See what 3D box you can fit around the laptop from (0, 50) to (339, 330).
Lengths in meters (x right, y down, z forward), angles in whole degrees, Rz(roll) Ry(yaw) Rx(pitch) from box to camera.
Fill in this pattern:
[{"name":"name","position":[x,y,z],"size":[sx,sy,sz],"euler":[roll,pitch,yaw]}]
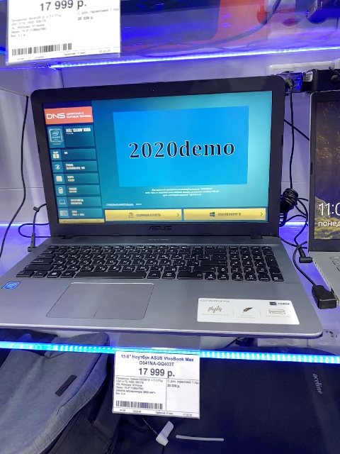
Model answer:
[{"name":"laptop","position":[-0.038,-0.056,0.431],"size":[0.372,0.232,0.263],"euler":[-1,19,7]}]
